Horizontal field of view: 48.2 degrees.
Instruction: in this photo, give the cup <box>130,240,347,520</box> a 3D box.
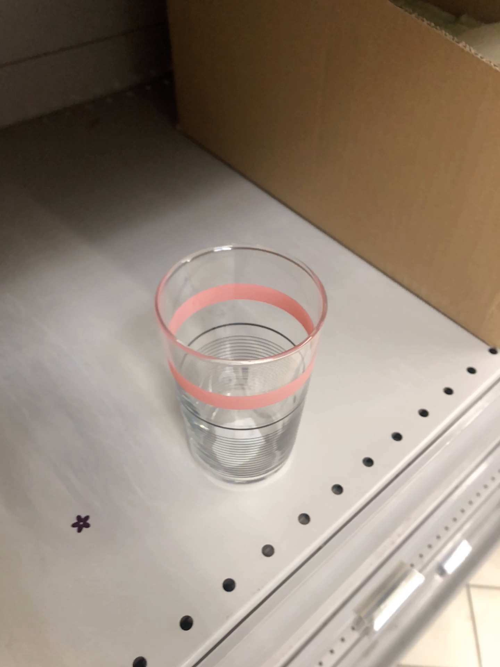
[{"bbox_3d":[-0.009,0.028,0.276,0.073,0.123,0.064,-13,52,-13],"label":"cup"}]
